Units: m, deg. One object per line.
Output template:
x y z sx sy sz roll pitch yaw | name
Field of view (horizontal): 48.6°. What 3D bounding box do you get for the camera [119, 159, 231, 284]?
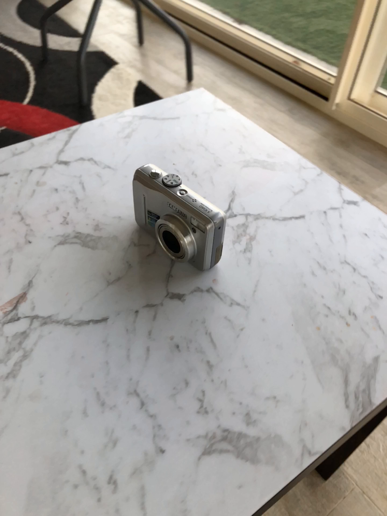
-0.018 -0.034 0.381 0.099 0.061 0.034 37 56 27 | camera
